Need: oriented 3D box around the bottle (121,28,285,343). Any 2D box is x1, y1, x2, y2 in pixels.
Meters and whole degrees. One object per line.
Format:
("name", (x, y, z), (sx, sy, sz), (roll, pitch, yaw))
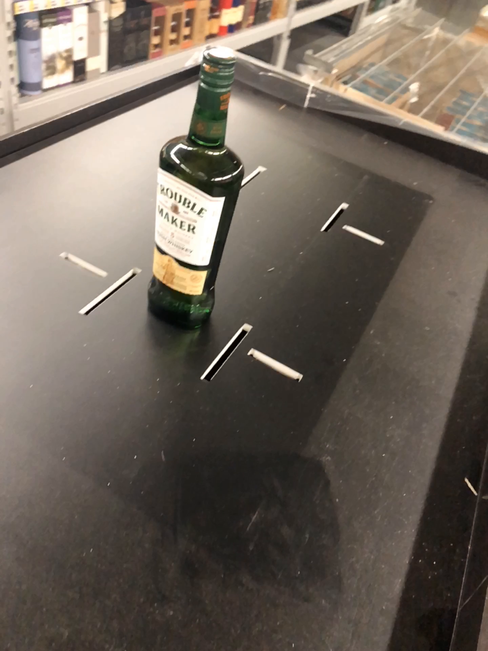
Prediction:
("bottle", (-0.056, -0.130, 0.567), (0.100, 0.298, 0.081), (30, 44, 15))
